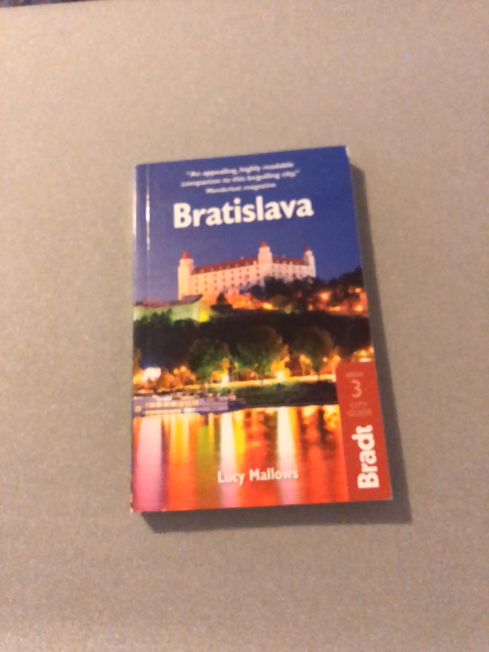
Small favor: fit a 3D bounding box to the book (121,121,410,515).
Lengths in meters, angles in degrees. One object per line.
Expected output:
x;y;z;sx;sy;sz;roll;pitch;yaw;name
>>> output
0.005;-0.009;0.306;0.140;0.020;0.210;-4;73;7;book
